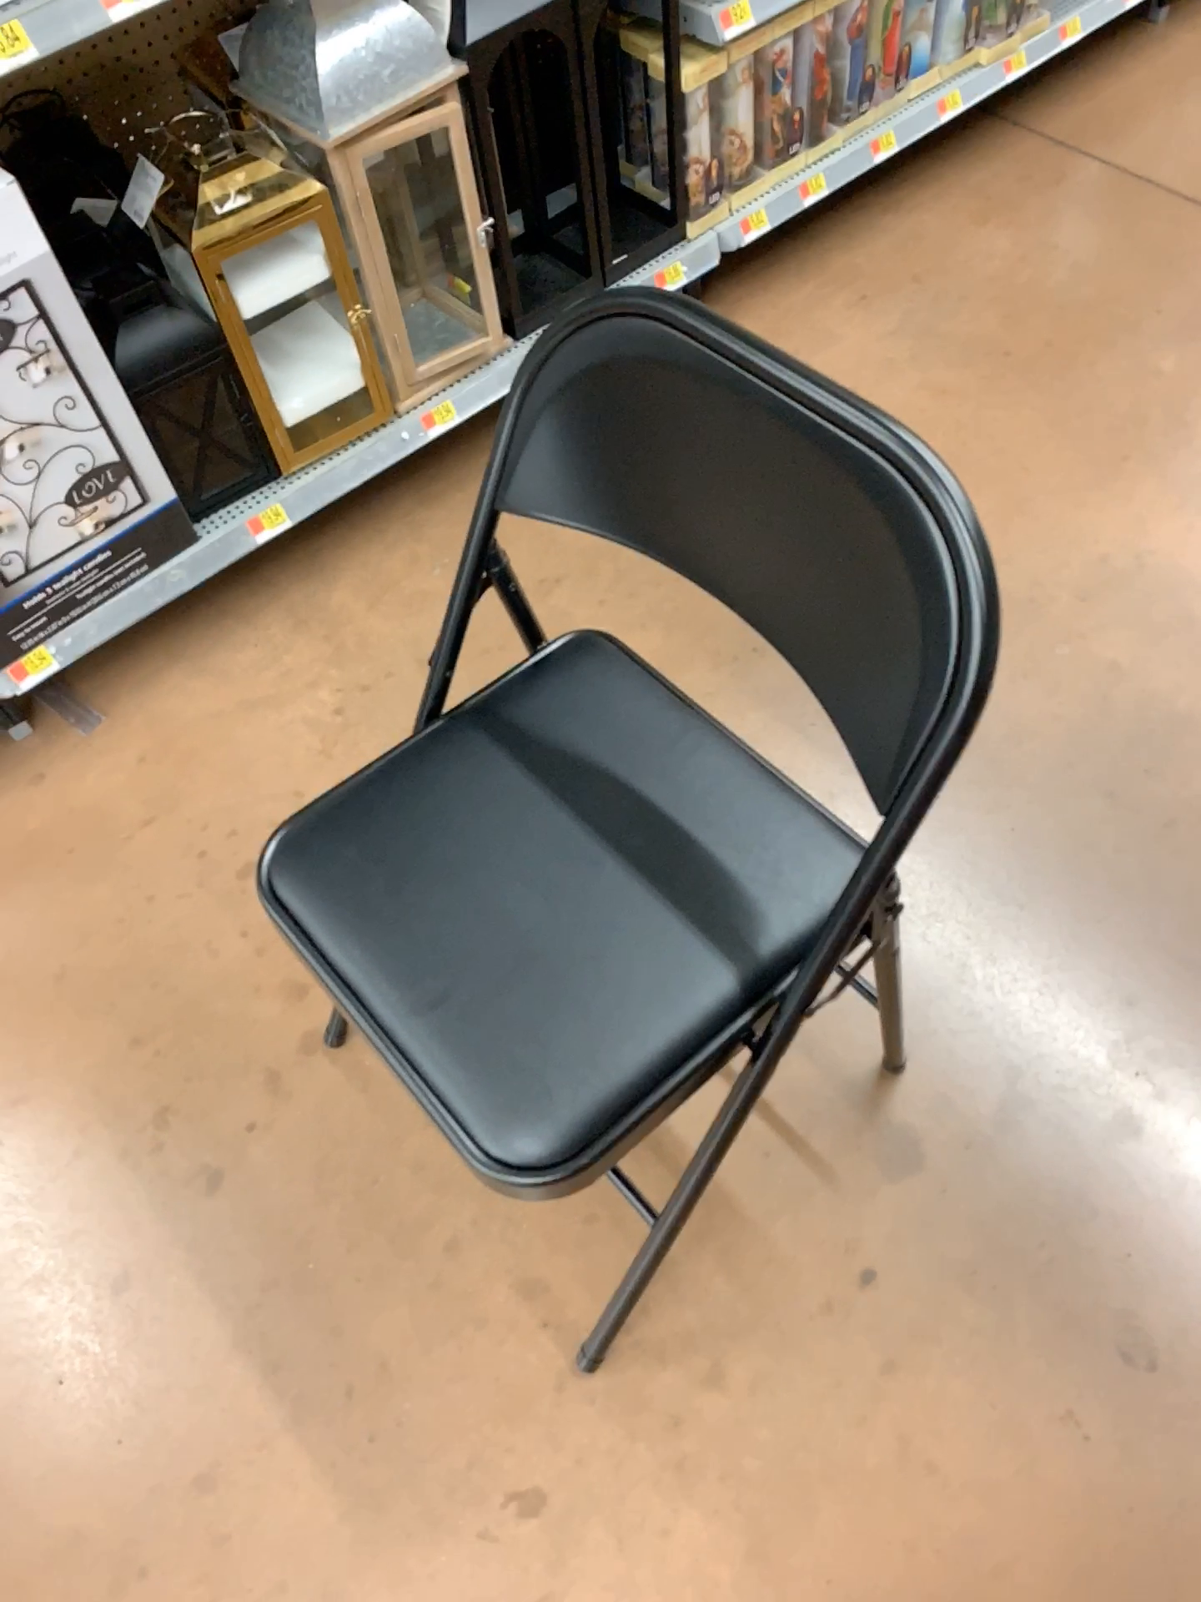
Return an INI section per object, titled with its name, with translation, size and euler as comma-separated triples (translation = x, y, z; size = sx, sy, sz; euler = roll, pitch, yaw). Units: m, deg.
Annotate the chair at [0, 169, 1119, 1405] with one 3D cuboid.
[chair]
translation = -0.043, 0.045, 0.923
size = 0.470, 0.698, 0.471
euler = -38, 61, -17
